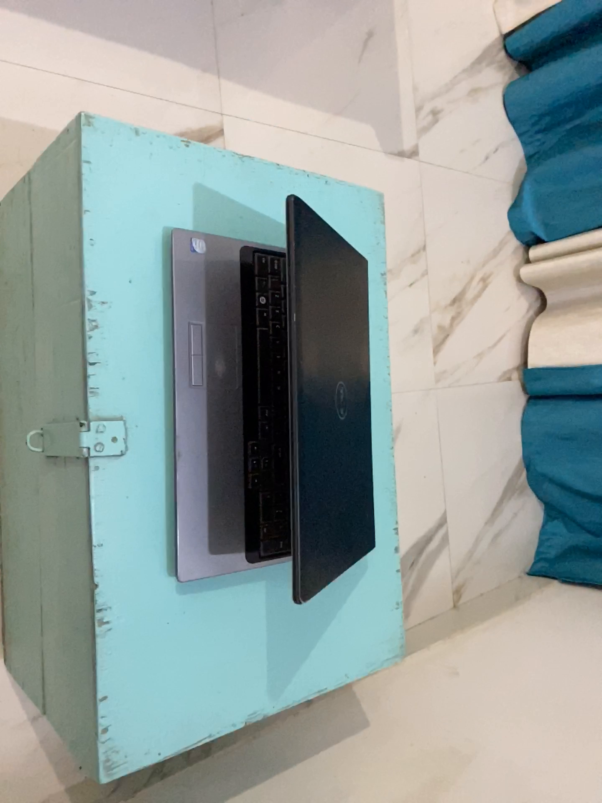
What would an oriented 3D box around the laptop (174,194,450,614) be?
[{"bbox_3d":[0.016,0.002,0.703,0.262,0.152,0.387,-1,88,-37],"label":"laptop"}]
